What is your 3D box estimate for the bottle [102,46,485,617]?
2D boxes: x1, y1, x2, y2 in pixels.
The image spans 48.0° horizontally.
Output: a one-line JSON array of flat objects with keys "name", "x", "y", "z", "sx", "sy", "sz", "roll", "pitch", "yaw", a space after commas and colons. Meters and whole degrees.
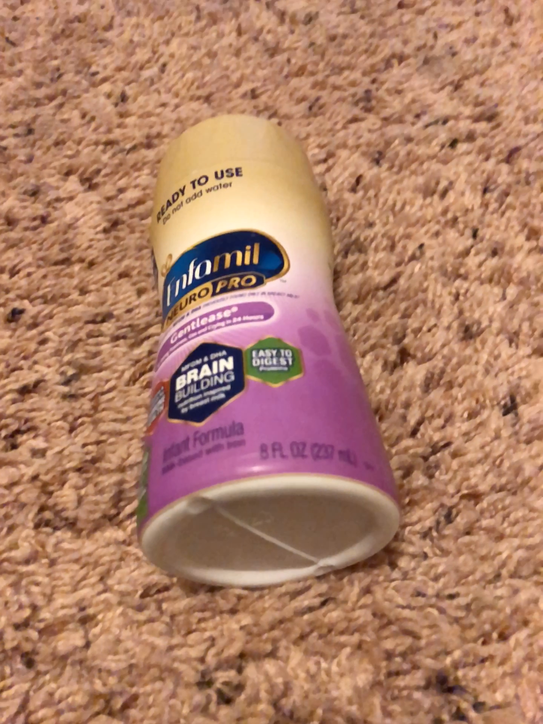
[{"name": "bottle", "x": -0.002, "y": -0.015, "z": 0.180, "sx": 0.060, "sy": 0.060, "sz": 0.150, "roll": -34, "pitch": 45, "yaw": 30}]
